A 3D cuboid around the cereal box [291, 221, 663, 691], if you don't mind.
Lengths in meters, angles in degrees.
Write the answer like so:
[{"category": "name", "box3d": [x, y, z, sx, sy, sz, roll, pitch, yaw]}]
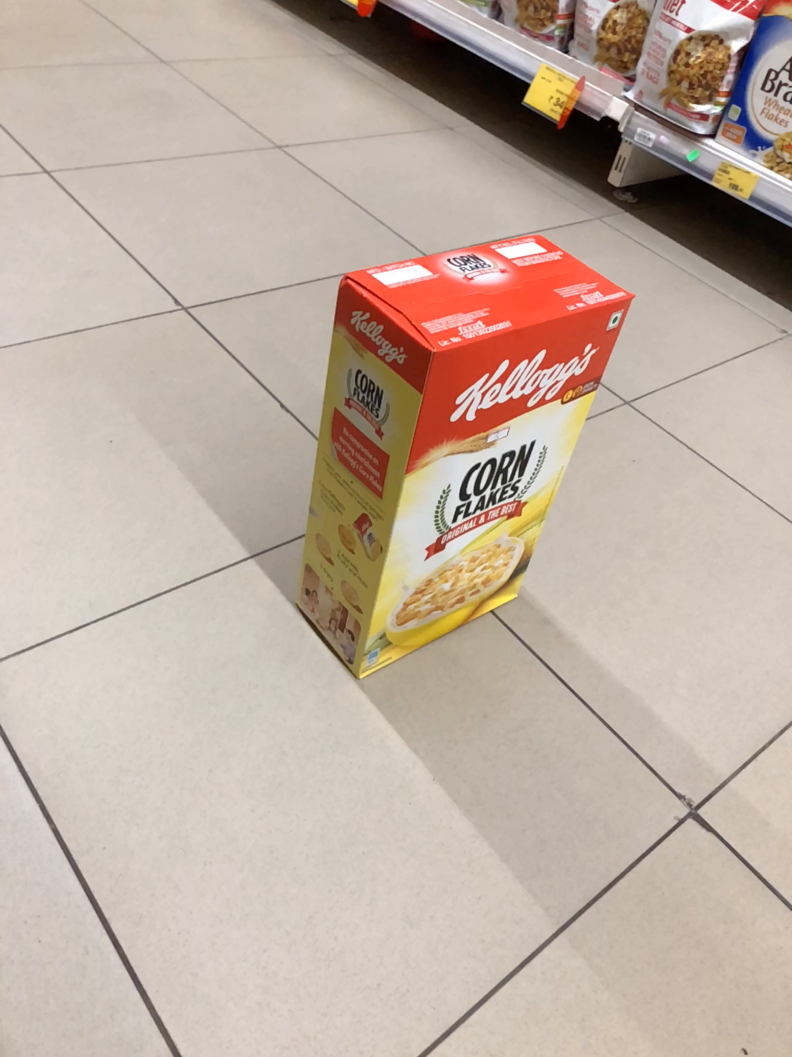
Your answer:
[{"category": "cereal box", "box3d": [0.046, -0.048, 0.668, 0.201, 0.318, 0.100, -23, 54, -33]}]
